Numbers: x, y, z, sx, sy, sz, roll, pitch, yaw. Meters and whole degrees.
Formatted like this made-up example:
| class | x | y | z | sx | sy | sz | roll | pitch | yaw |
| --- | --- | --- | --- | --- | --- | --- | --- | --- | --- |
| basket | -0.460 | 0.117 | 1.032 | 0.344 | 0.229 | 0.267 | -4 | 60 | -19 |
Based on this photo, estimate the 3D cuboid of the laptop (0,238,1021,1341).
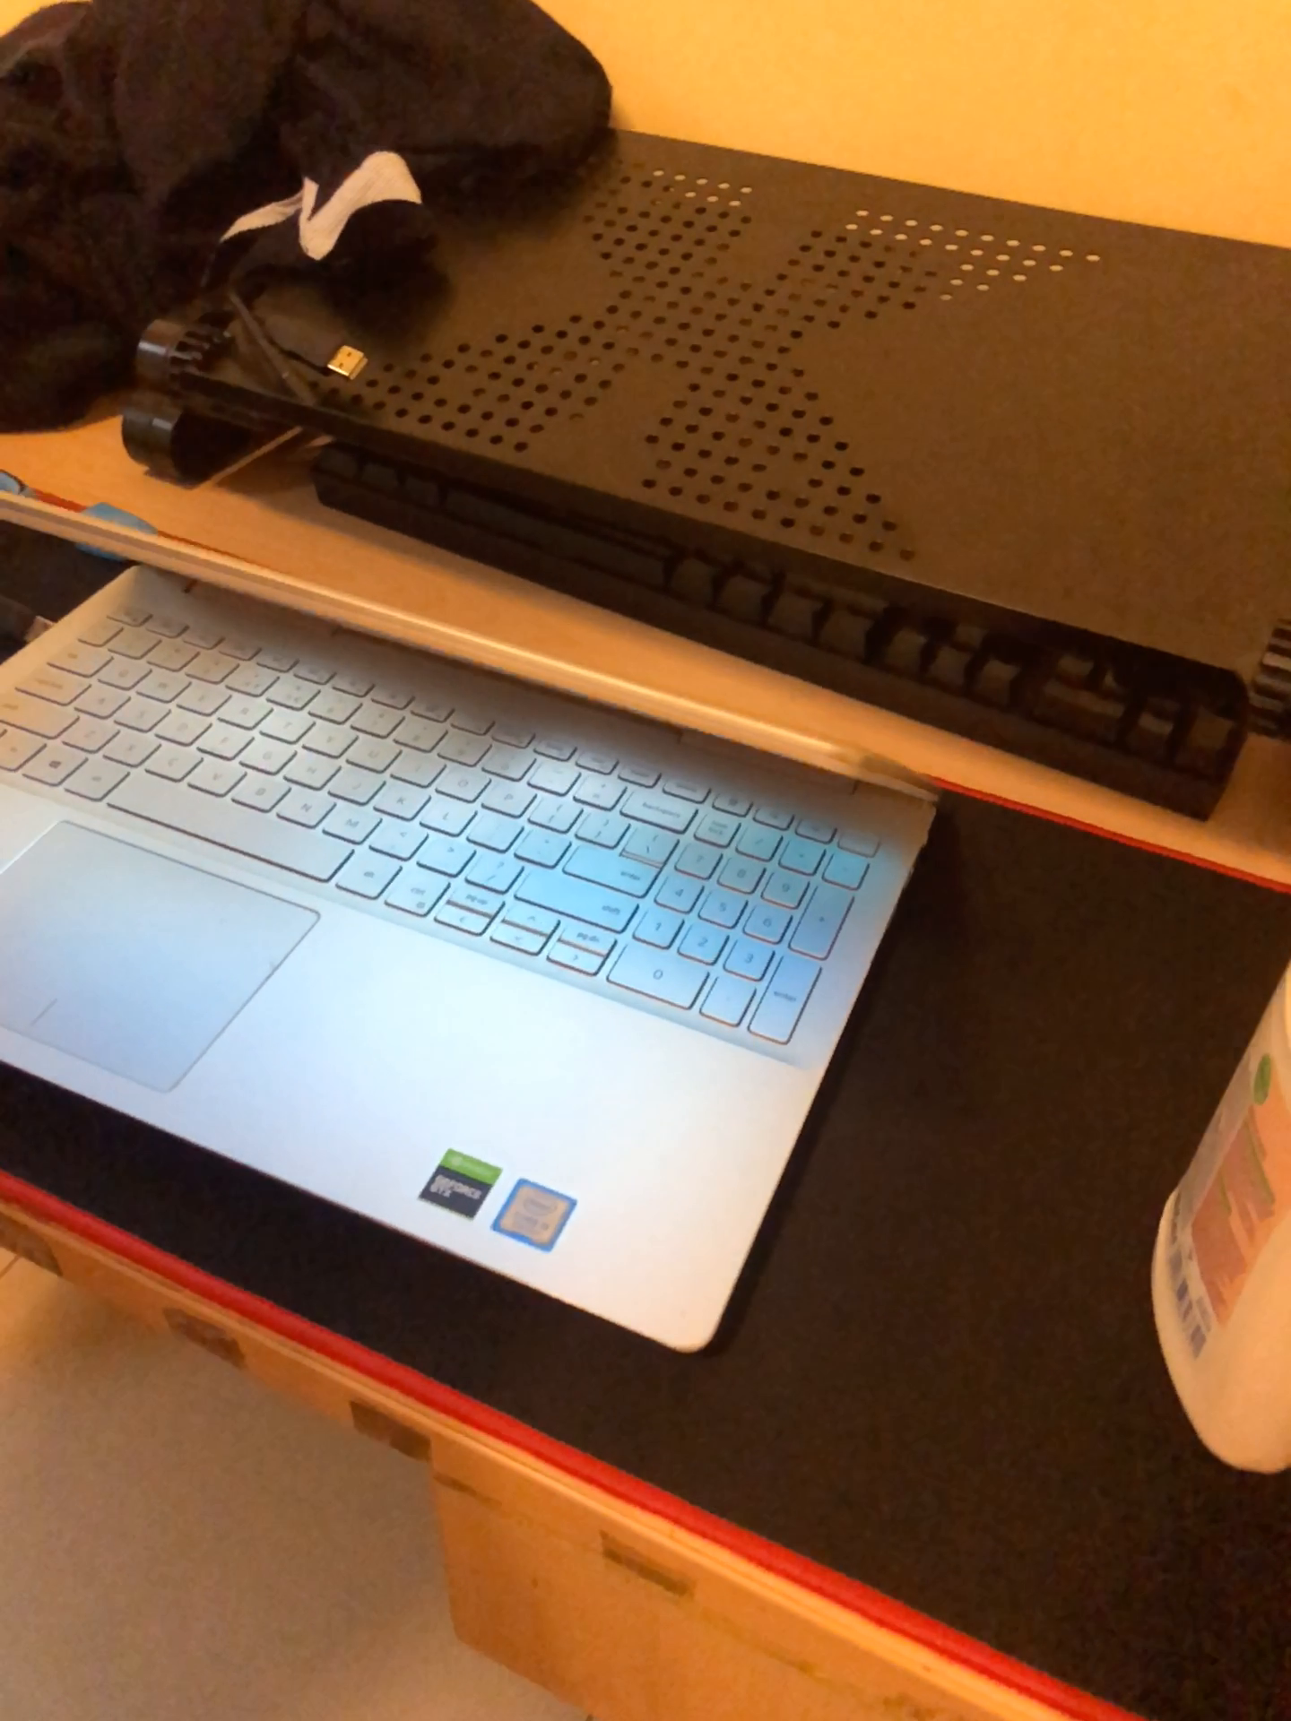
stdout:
| class | x | y | z | sx | sy | sz | roll | pitch | yaw |
| --- | --- | --- | --- | --- | --- | --- | --- | --- | --- |
| laptop | -0.098 | -0.051 | 0.436 | 0.351 | 0.139 | 0.219 | 18 | 46 | 16 |
